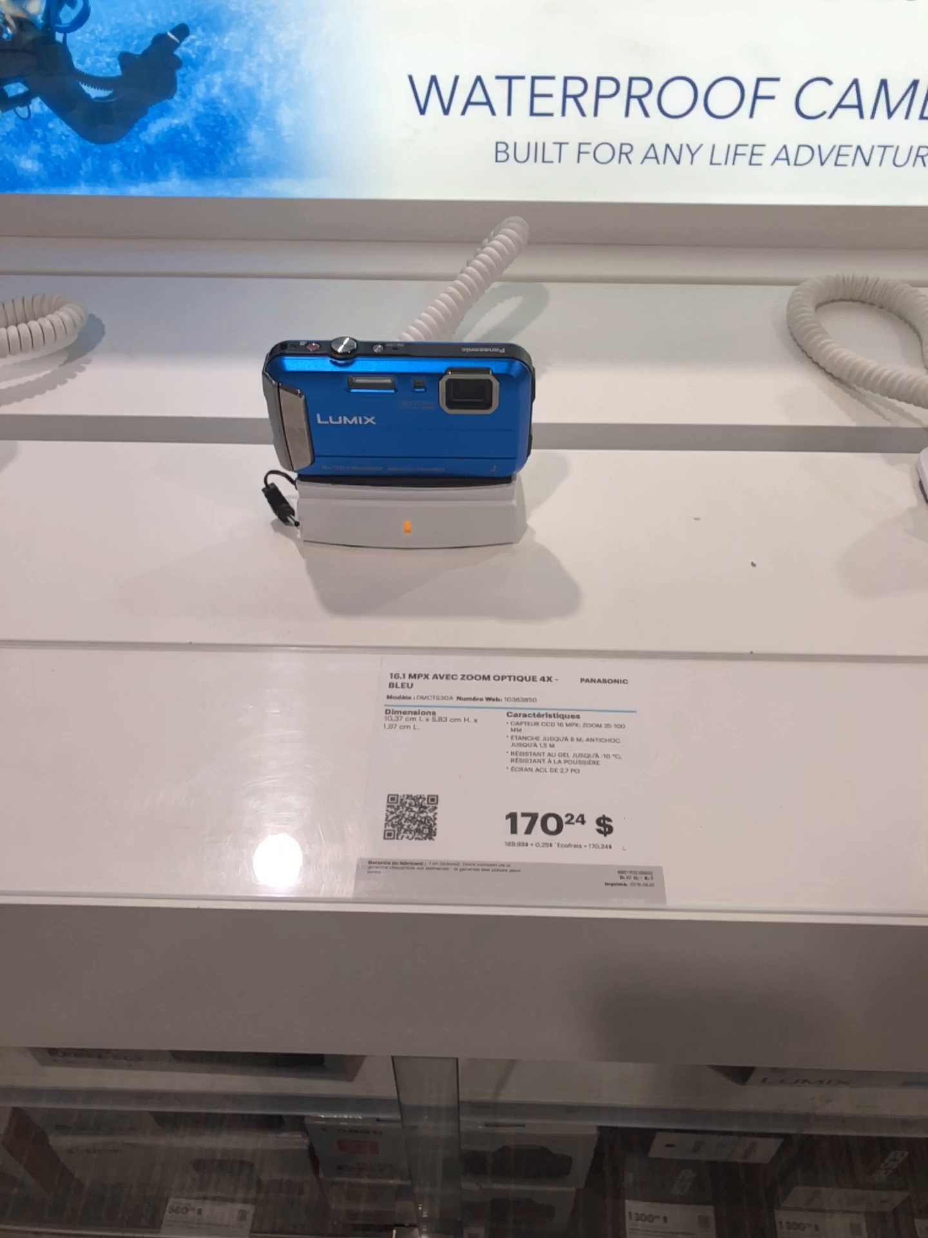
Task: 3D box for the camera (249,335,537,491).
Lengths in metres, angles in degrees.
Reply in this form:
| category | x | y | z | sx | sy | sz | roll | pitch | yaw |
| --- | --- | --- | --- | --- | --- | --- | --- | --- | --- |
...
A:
| category | x | y | z | sx | sy | sz | roll | pitch | yaw |
| --- | --- | --- | --- | --- | --- | --- | --- | --- | --- |
| camera | -0.026 | -0.080 | 0.405 | 0.106 | 0.060 | 0.020 | 0 | 47 | 1 |
